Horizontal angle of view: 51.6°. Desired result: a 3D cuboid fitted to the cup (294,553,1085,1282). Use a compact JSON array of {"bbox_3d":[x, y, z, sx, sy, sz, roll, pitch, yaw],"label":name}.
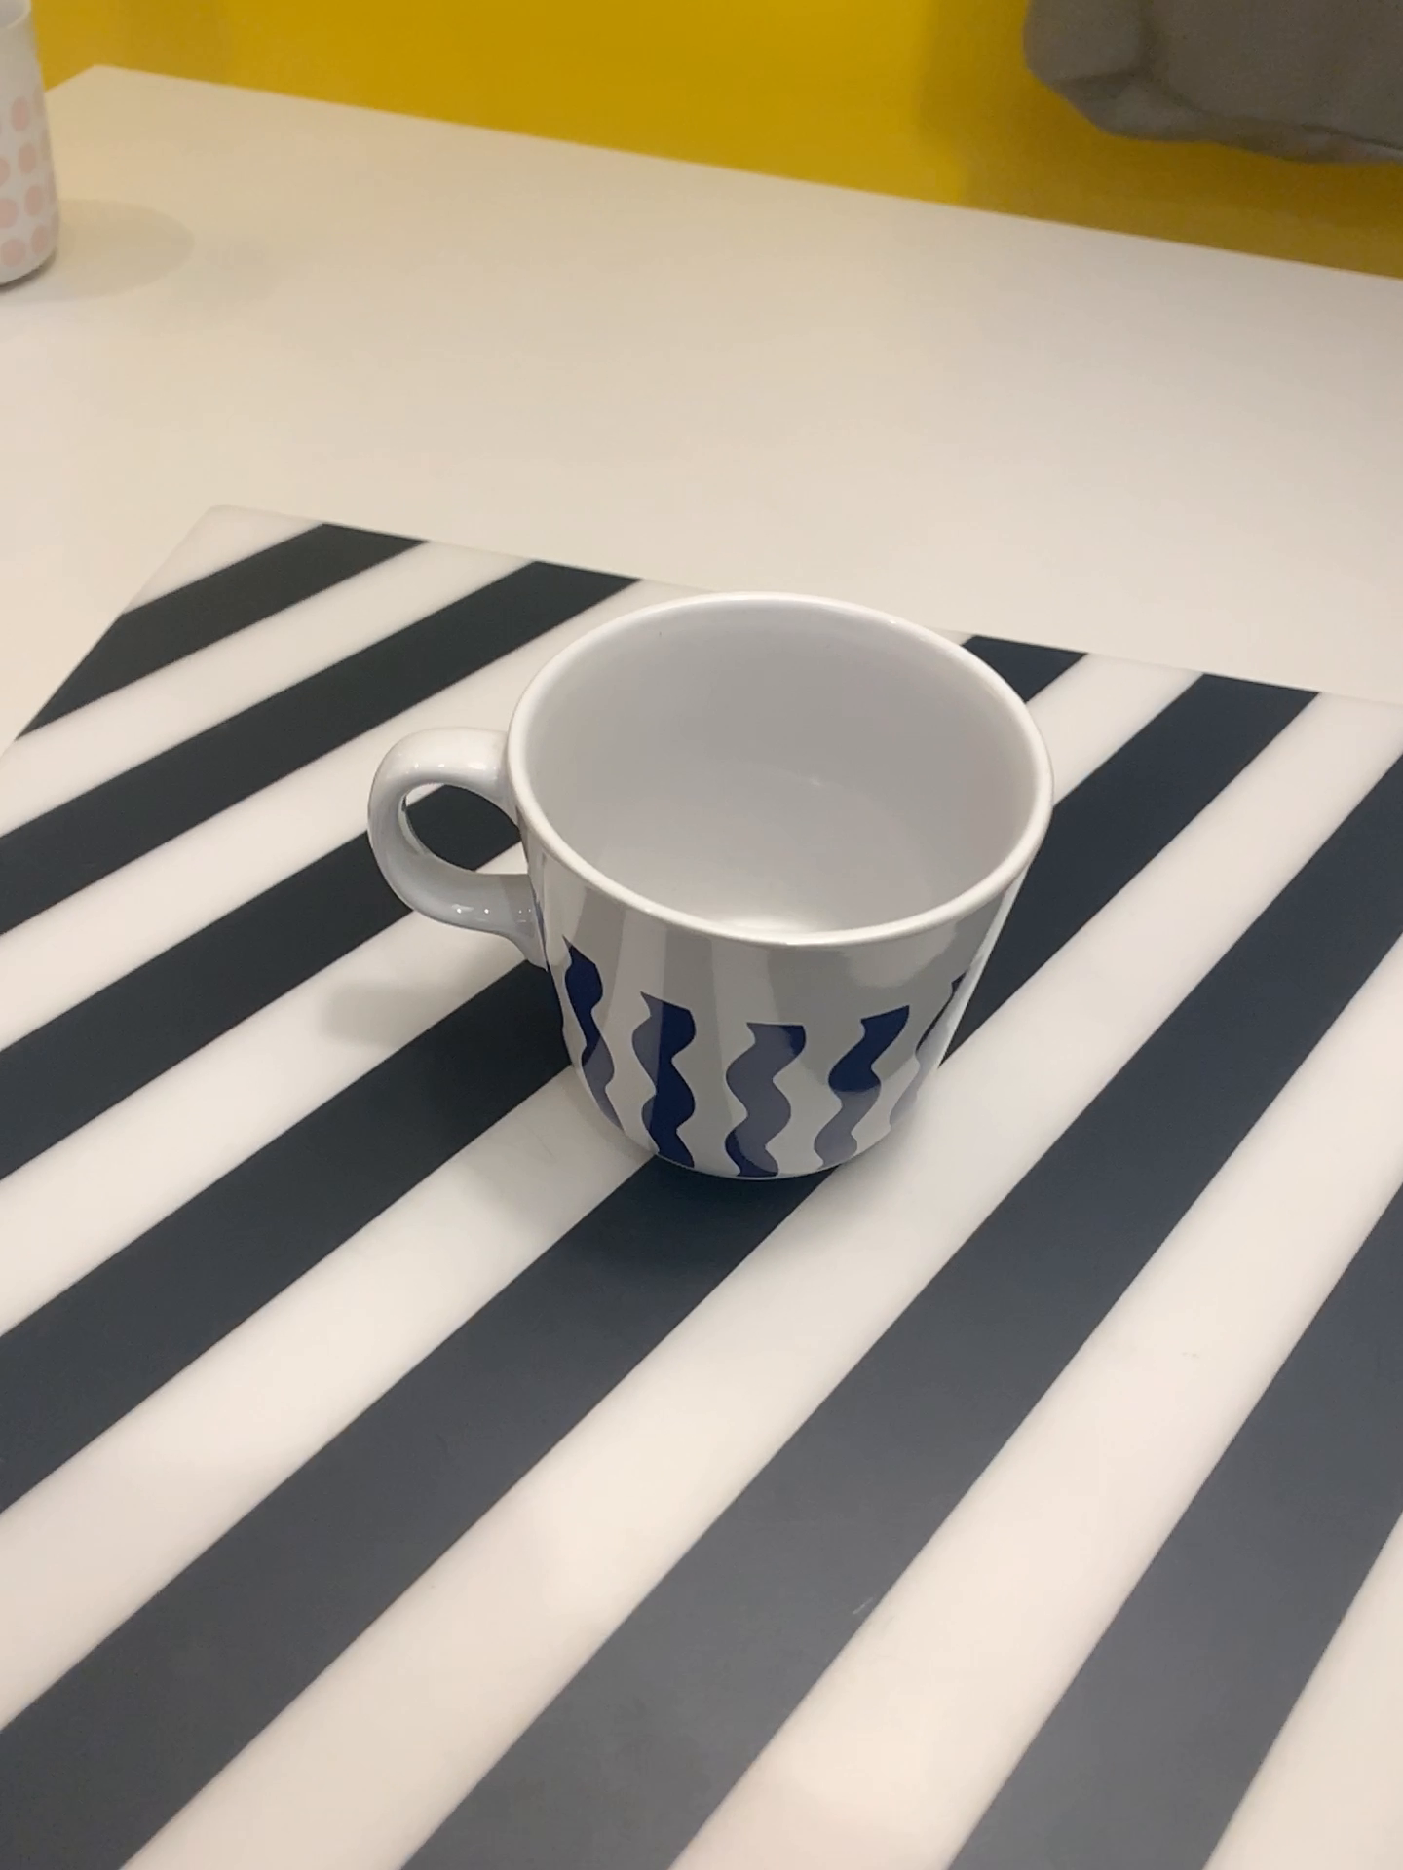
[{"bbox_3d":[0.002,-0.005,0.256,0.110,0.070,0.090,9,47,3],"label":"cup"}]
